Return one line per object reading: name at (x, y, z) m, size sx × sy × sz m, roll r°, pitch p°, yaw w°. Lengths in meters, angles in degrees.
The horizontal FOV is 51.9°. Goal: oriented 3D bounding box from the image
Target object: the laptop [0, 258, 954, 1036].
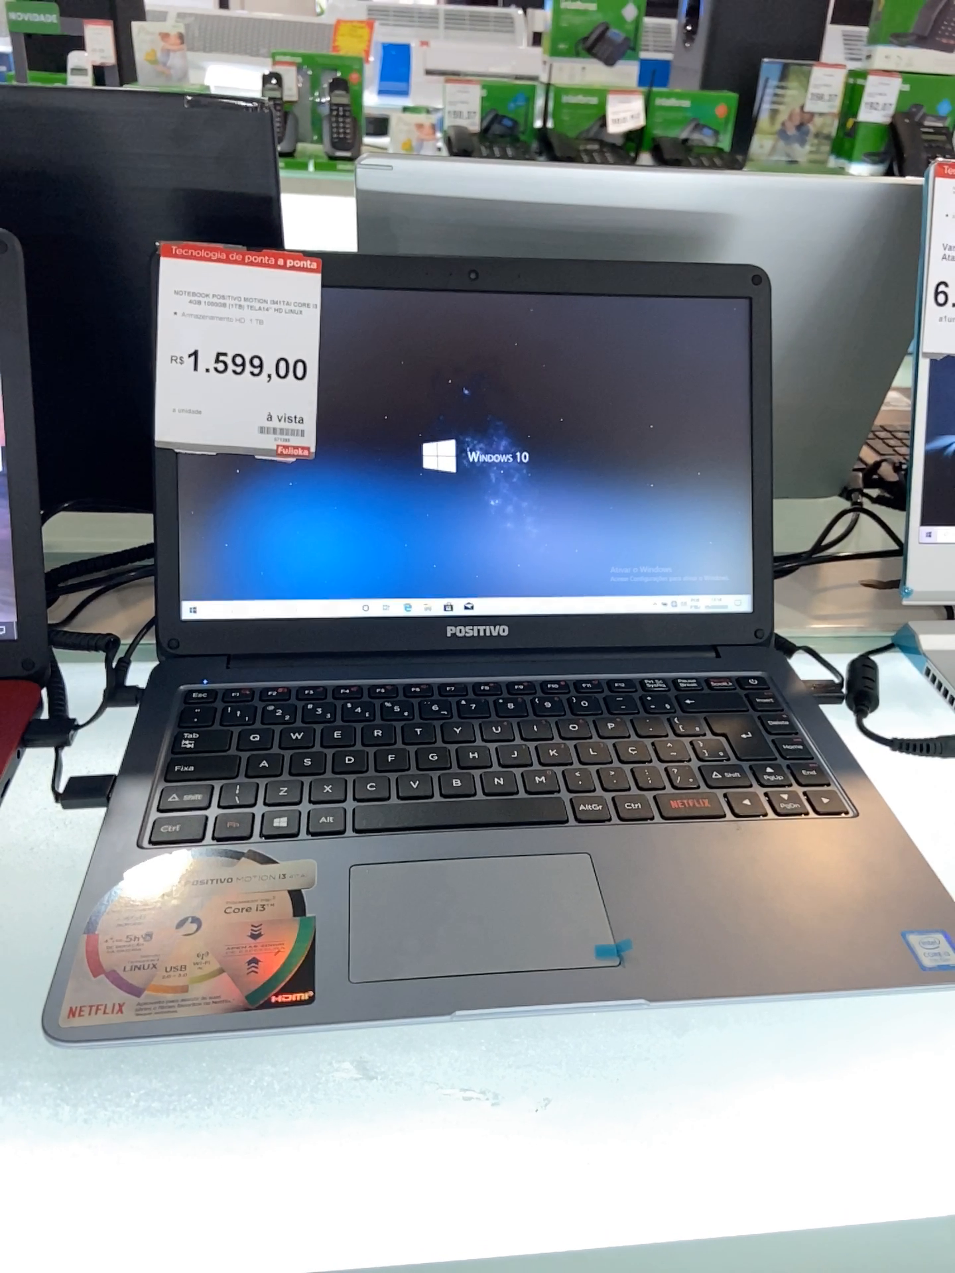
laptop at (0.009, -0.036, 0.420) m, size 0.319 × 0.171 × 0.325 m, roll -1°, pitch 31°, yaw -7°
